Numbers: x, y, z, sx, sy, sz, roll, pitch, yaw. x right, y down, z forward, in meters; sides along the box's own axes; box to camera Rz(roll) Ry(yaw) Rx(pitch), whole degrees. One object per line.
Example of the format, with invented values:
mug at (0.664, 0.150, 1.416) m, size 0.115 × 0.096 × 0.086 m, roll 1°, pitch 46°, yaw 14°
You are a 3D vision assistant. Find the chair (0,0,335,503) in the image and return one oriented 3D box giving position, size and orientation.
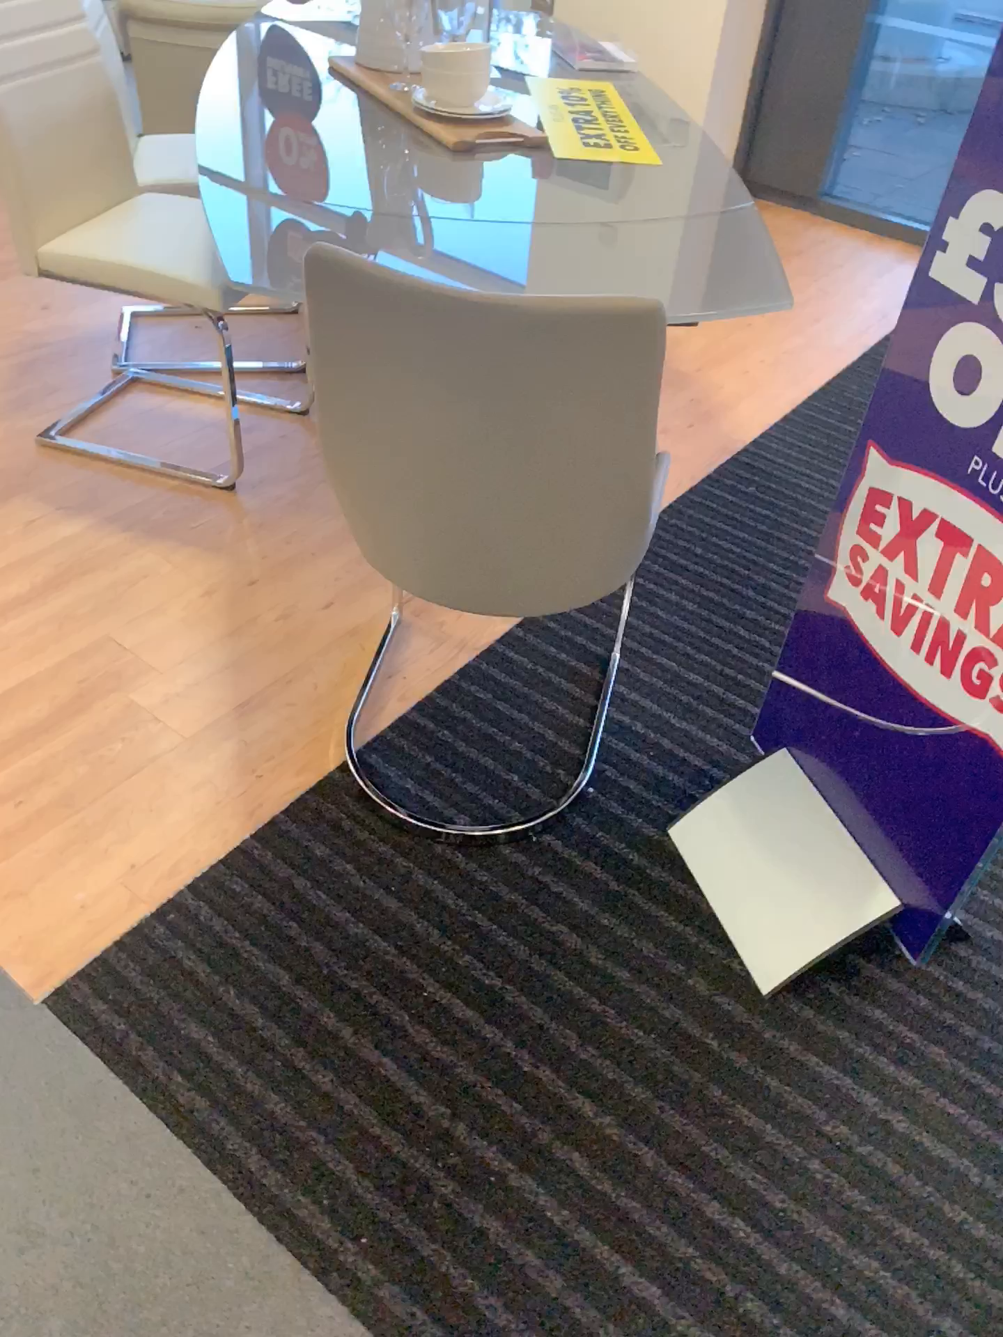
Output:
chair at (-0.748, -0.991, 2.227) m, size 0.590 × 1.024 × 0.511 m, roll 14°, pitch 41°, yaw 8°

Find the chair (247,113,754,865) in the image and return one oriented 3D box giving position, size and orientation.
chair at (0.002, -0.252, 1.506) m, size 0.507 × 0.846 × 0.595 m, roll 9°, pitch 41°, yaw 3°
